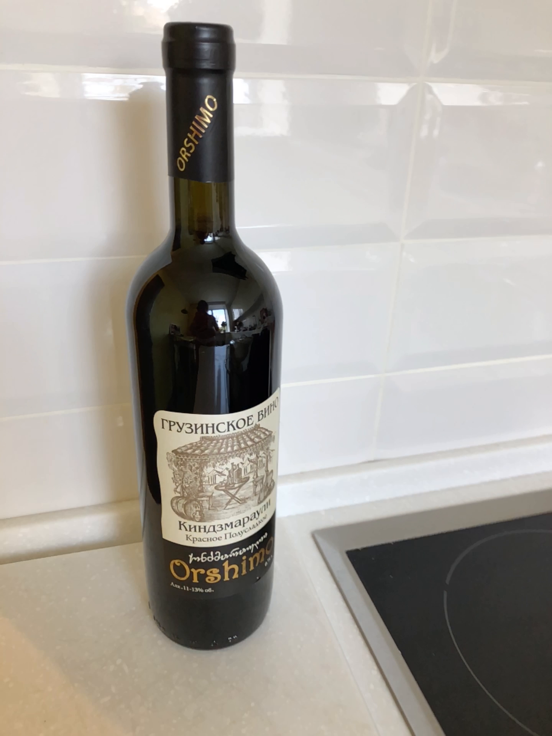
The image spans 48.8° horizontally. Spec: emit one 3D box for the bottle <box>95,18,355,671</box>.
[{"bbox_3d":[-0.030,0.003,0.302,0.080,0.298,0.080,2,26,-1],"label":"bottle"}]
